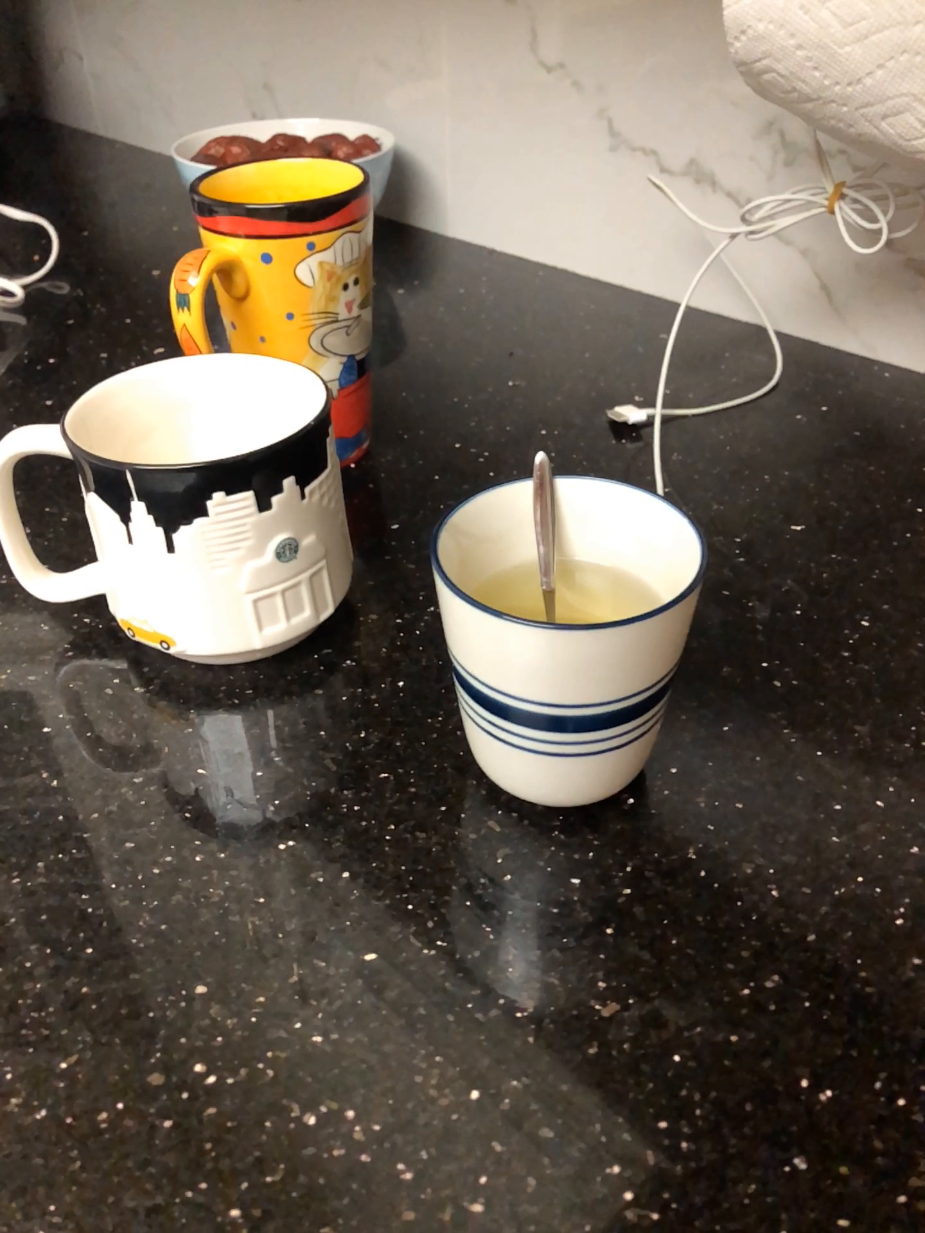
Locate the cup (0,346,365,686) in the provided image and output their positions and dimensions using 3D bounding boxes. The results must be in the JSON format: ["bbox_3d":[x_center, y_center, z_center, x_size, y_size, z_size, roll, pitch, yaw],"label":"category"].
[{"bbox_3d":[-0.120,-0.045,0.434,0.140,0.099,0.111,-1,37,1],"label":"cup"}]

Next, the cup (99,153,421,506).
[{"bbox_3d":[-0.094,-0.154,0.531,0.090,0.129,0.131,15,40,21],"label":"cup"}]

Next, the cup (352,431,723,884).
[{"bbox_3d":[0.034,0.005,0.365,0.100,0.080,0.141,7,38,12],"label":"cup"}]
